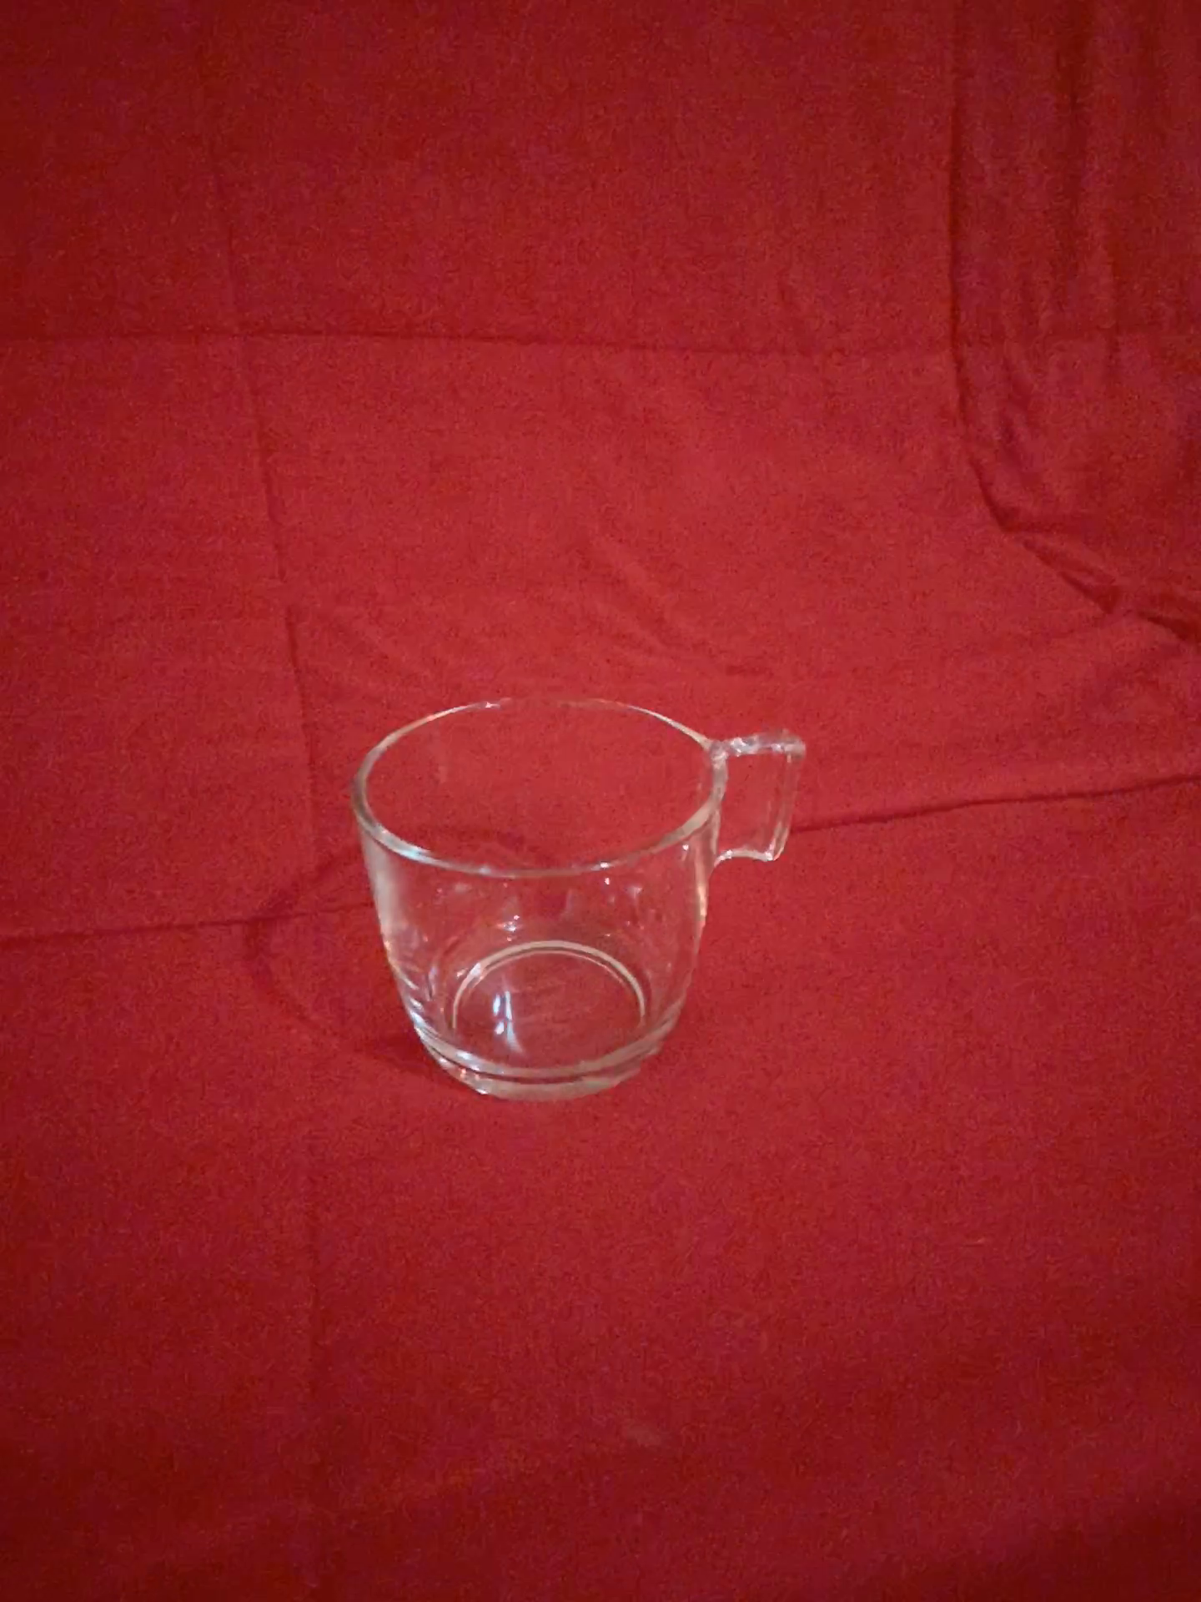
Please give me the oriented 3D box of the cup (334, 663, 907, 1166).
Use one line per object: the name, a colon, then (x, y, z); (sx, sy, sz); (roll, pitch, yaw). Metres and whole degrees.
cup: (0.000, 0.022, 0.312); (0.116, 0.069, 0.090); (-9, 32, -13)
